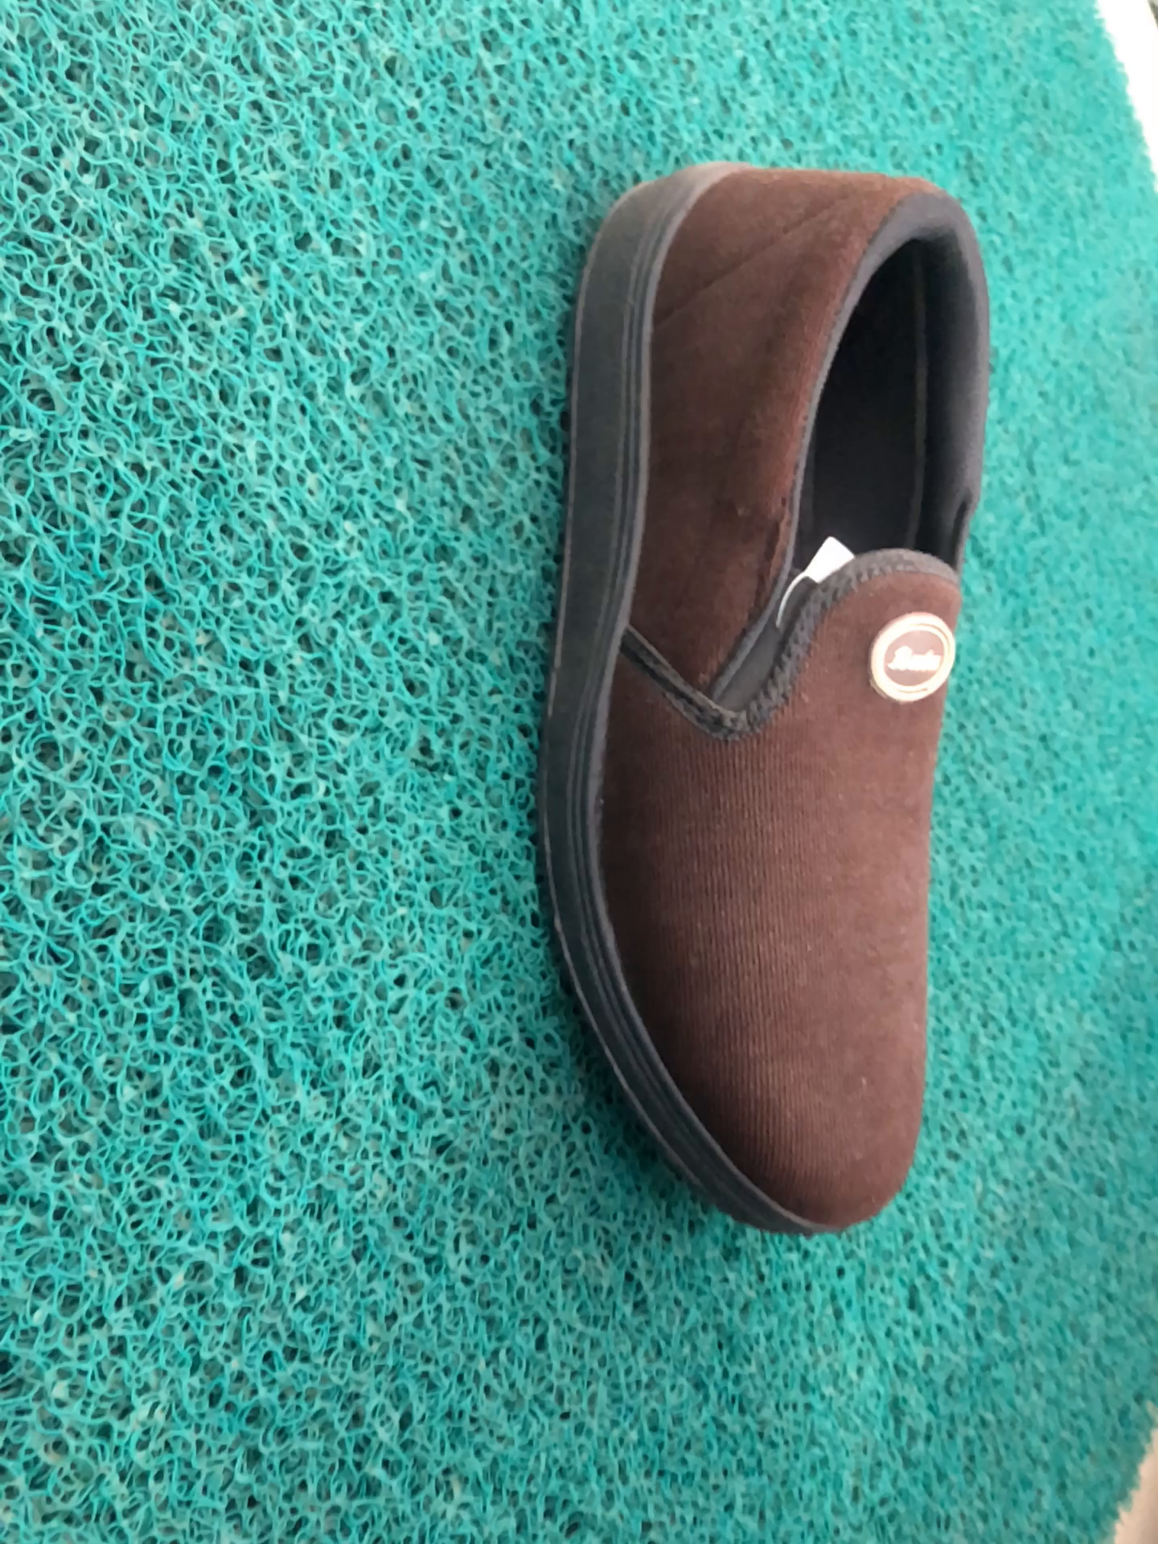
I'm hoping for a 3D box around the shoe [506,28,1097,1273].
[{"bbox_3d":[0.054,-0.024,0.336,0.101,0.099,0.260,5,81,-44],"label":"shoe"}]
